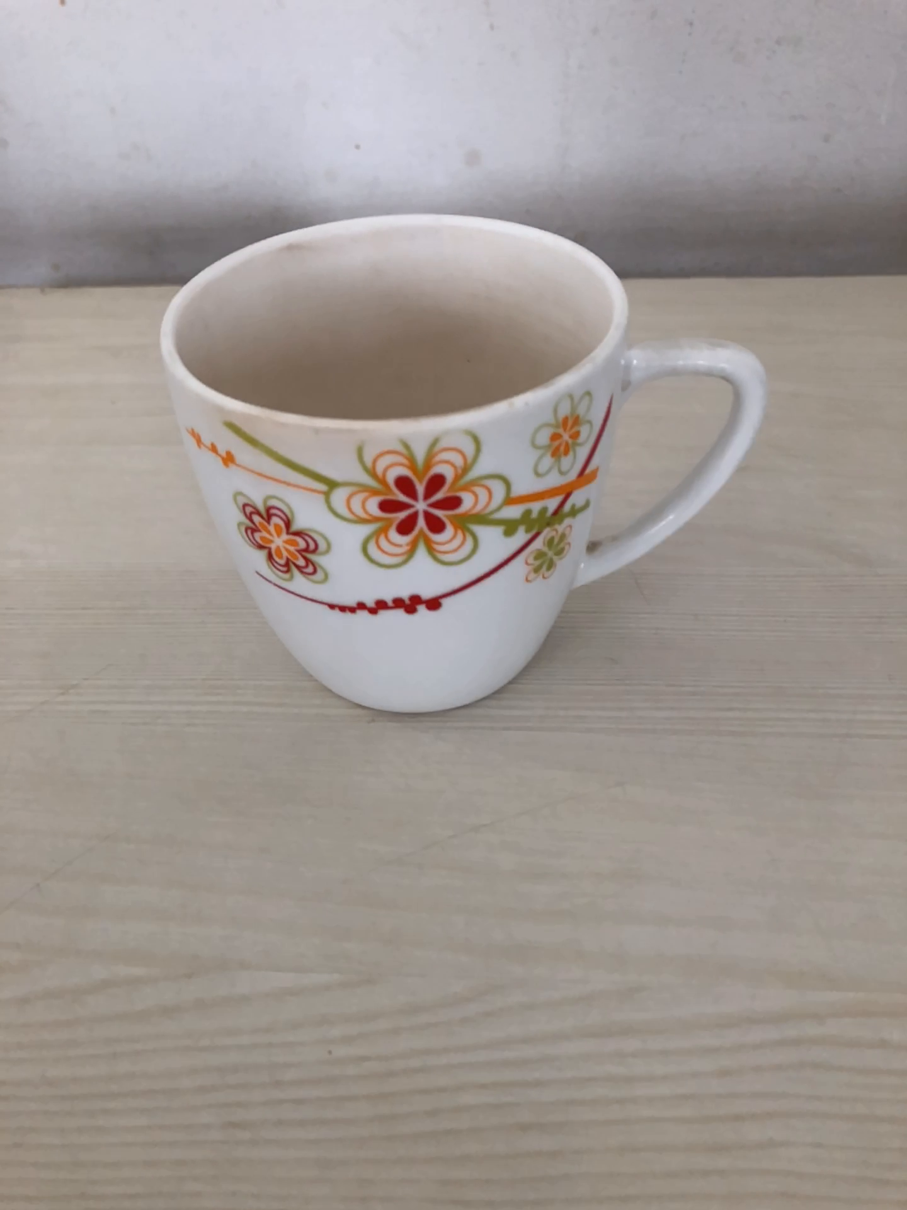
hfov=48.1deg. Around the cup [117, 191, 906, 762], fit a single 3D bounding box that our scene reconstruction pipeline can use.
[{"bbox_3d":[0.010,-0.025,0.184,0.110,0.070,0.070,-3,41,-1],"label":"cup"}]
